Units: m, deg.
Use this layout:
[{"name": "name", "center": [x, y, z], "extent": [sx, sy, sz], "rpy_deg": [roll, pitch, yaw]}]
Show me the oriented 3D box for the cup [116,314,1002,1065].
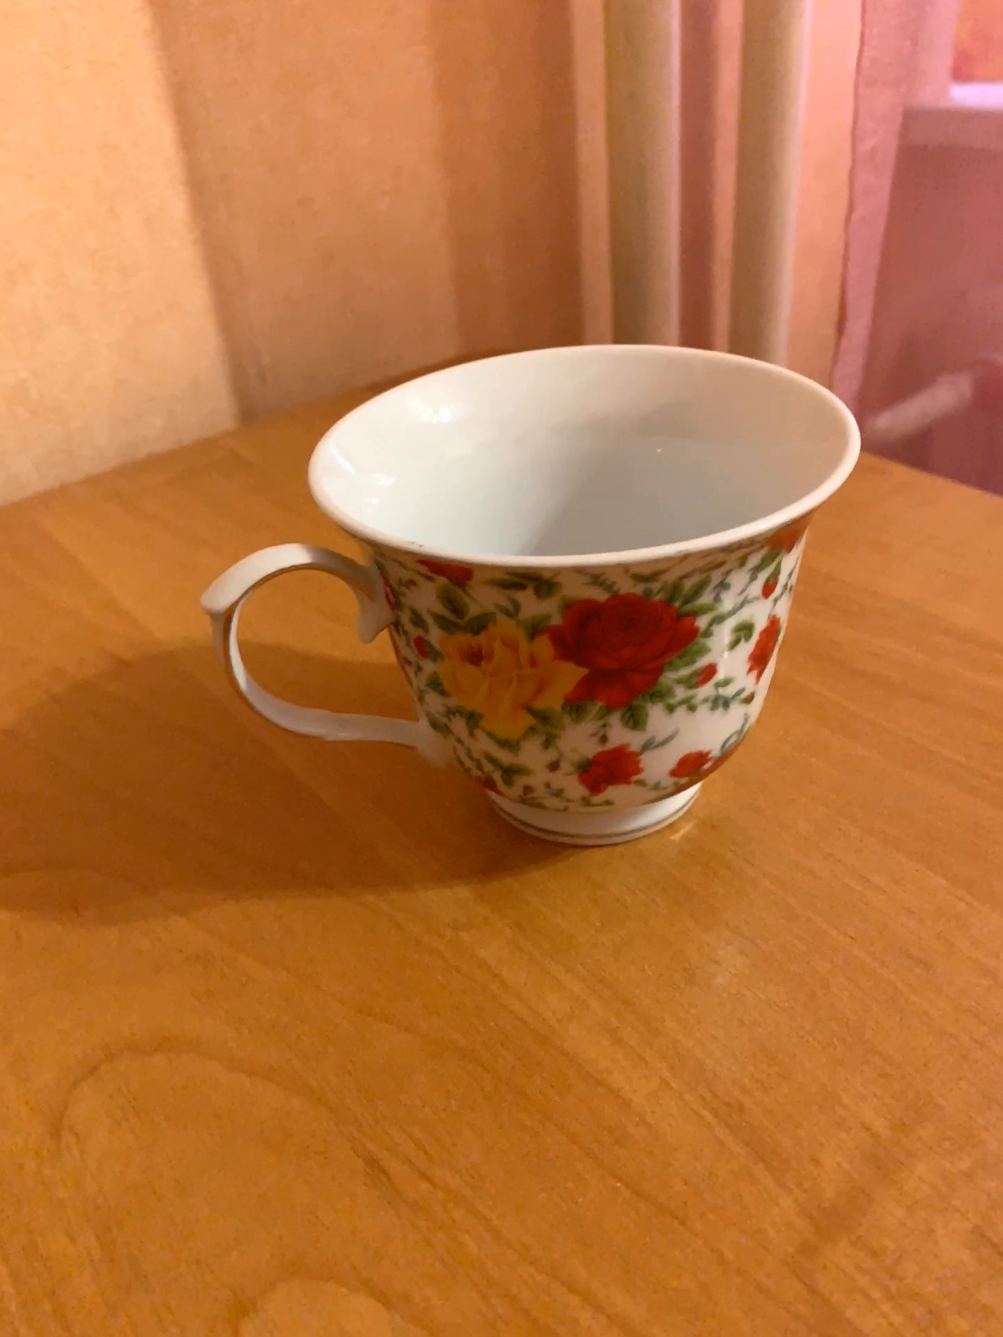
[{"name": "cup", "center": [0.007, -0.011, 0.200], "extent": [0.120, 0.067, 0.100], "rpy_deg": [-21, 37, -21]}]
